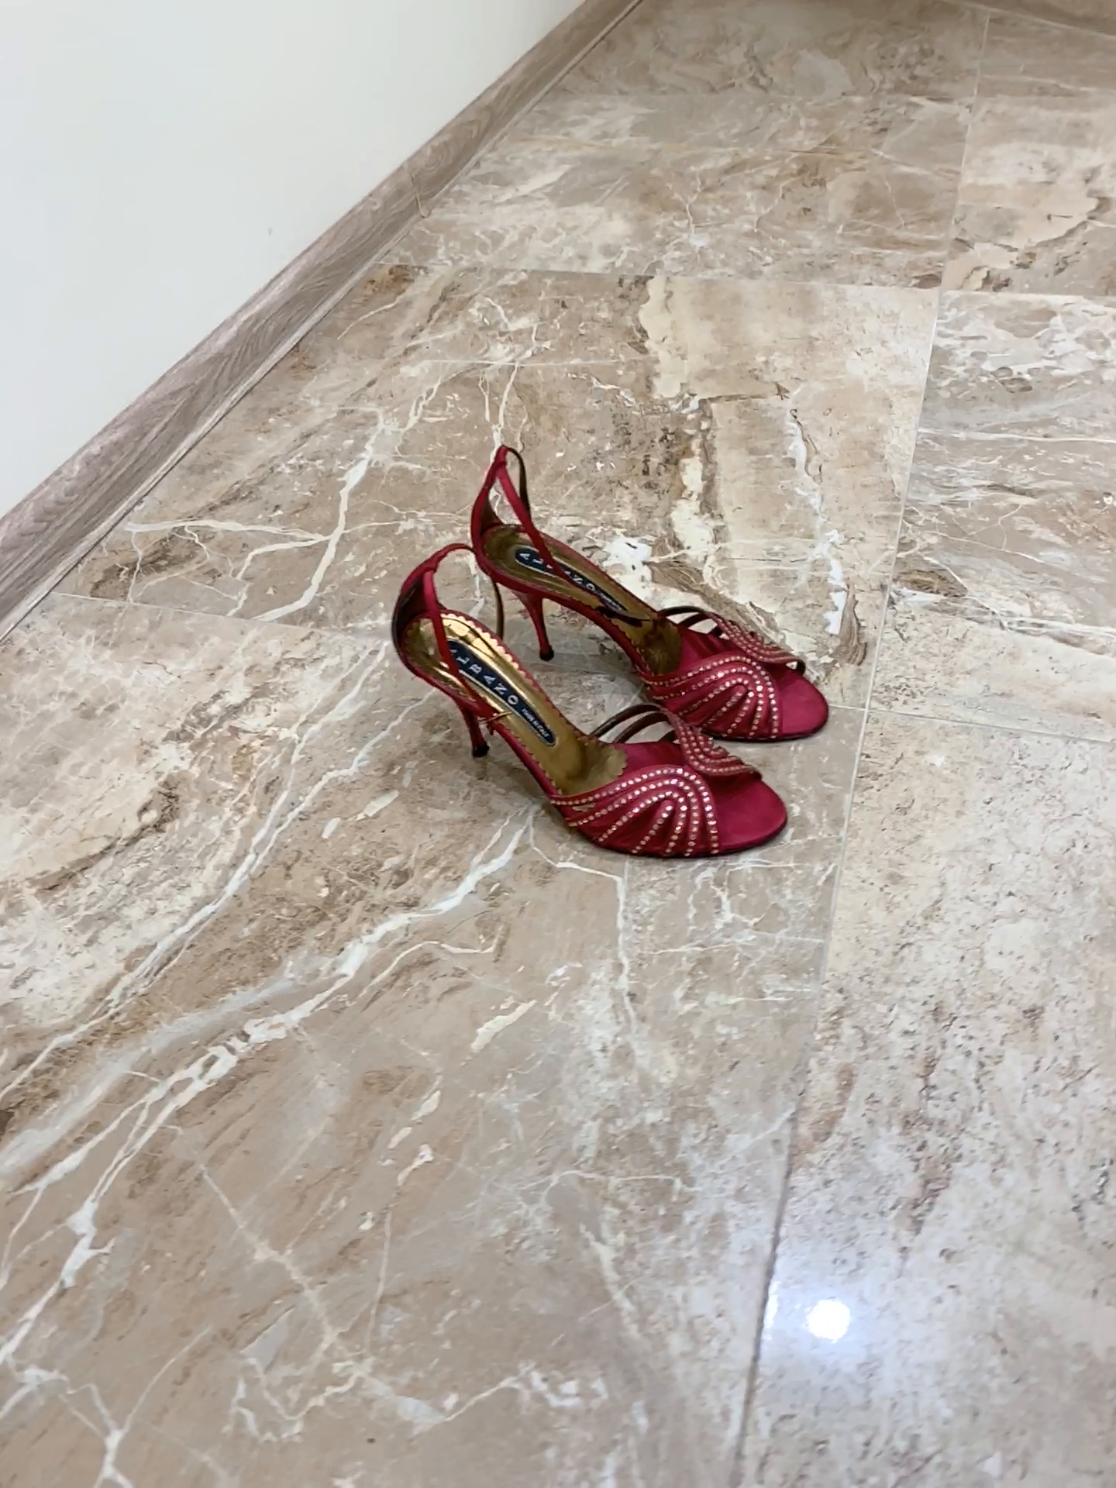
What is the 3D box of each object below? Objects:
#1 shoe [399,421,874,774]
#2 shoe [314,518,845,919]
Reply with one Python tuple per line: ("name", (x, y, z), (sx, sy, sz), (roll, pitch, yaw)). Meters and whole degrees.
("shoe", (0.044, -0.085, 0.640), (0.230, 0.129, 0.090), (13, 47, 18))
("shoe", (0.013, -0.017, 0.575), (0.230, 0.129, 0.090), (13, 47, 18))
